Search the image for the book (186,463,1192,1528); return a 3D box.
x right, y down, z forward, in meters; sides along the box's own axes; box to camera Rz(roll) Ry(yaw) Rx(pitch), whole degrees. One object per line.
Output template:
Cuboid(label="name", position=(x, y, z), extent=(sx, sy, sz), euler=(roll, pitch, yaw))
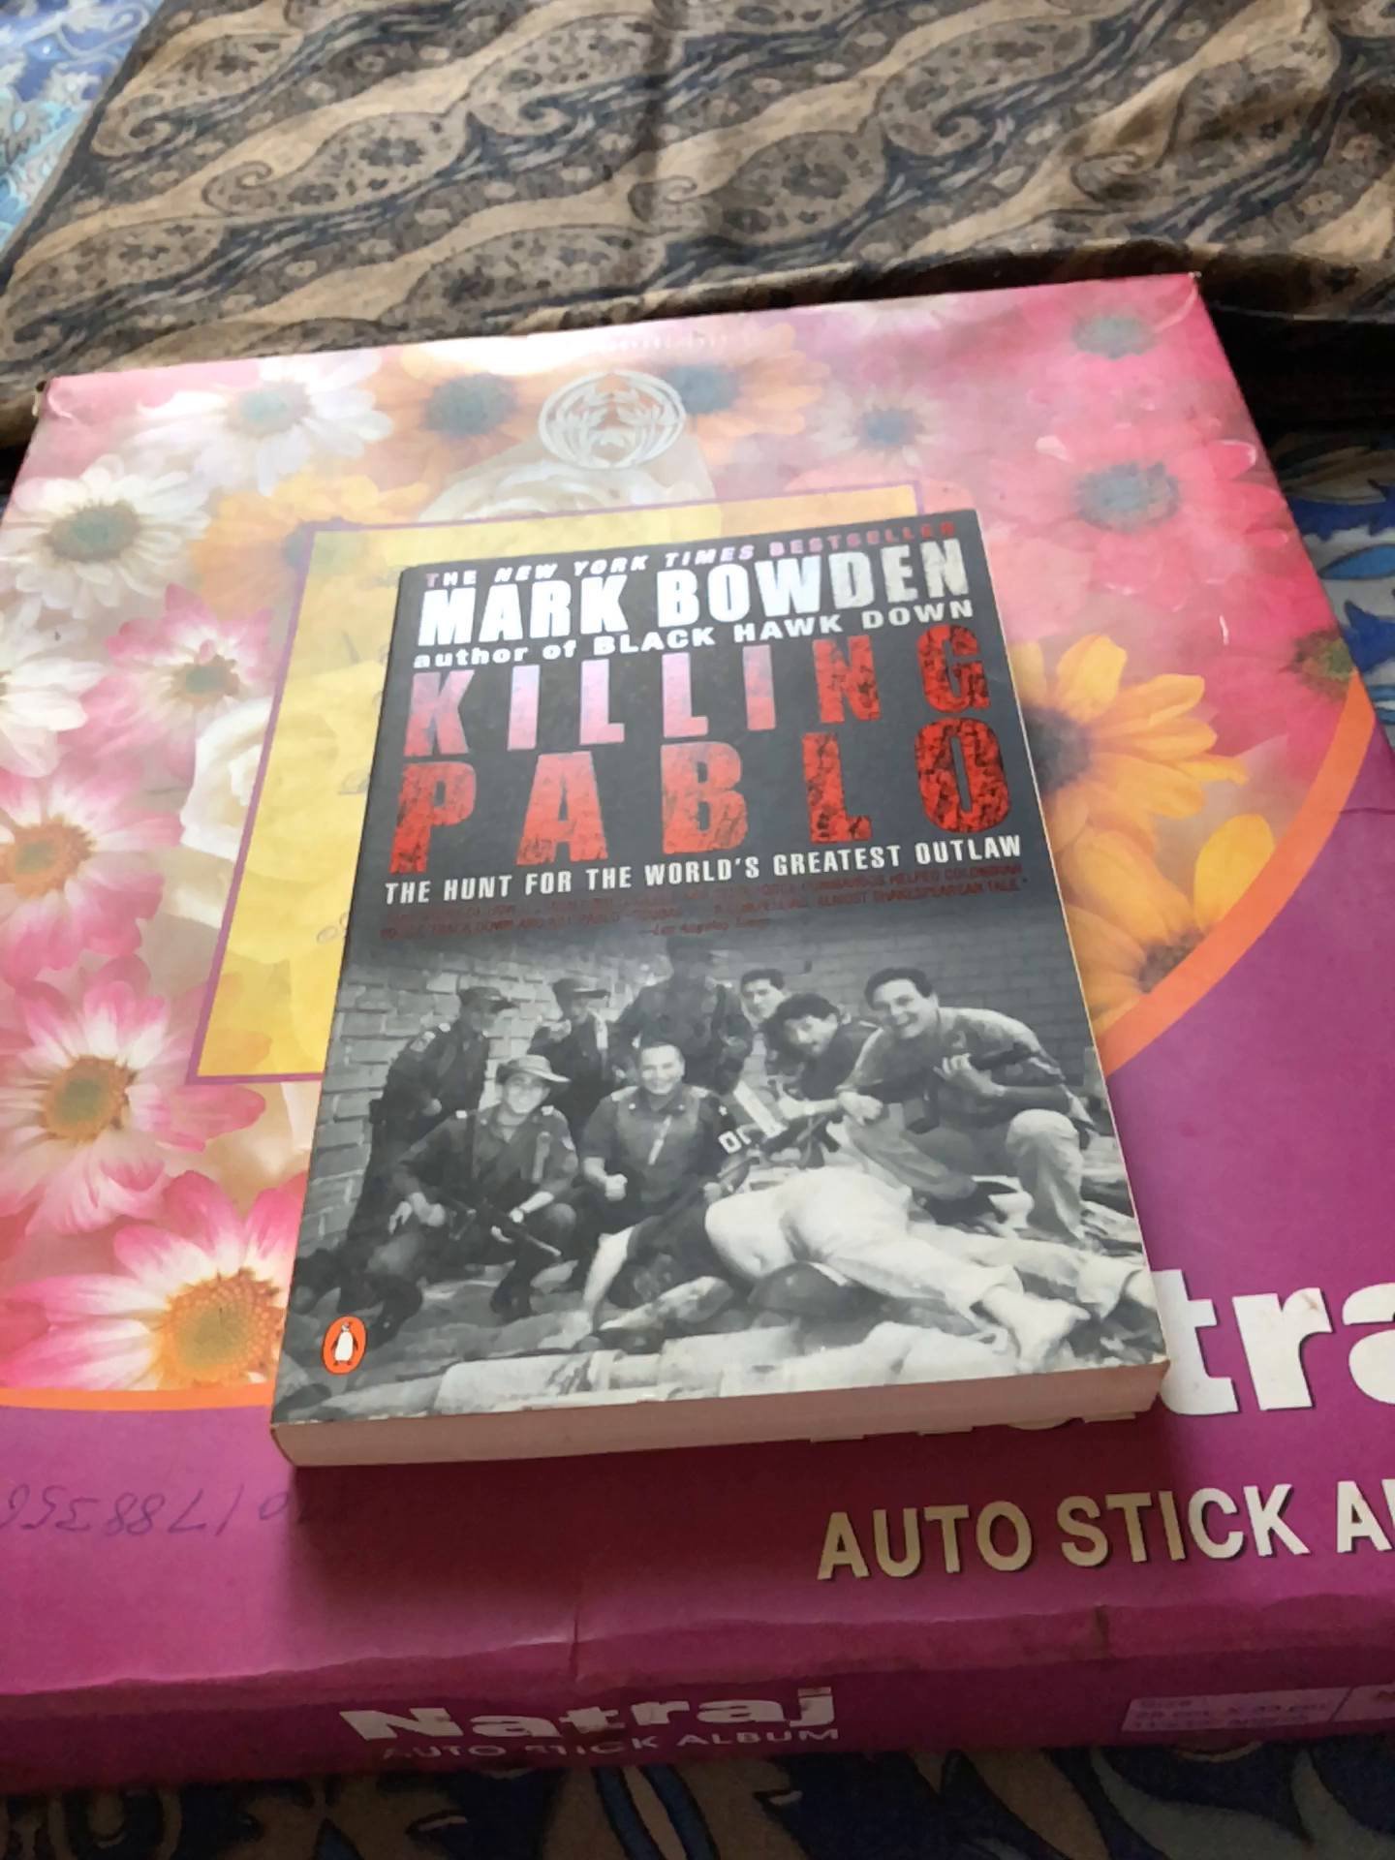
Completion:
Cuboid(label="book", position=(-0.004, -0.006, 0.317), extent=(0.150, 0.030, 0.231), euler=(-7, 48, 7))
